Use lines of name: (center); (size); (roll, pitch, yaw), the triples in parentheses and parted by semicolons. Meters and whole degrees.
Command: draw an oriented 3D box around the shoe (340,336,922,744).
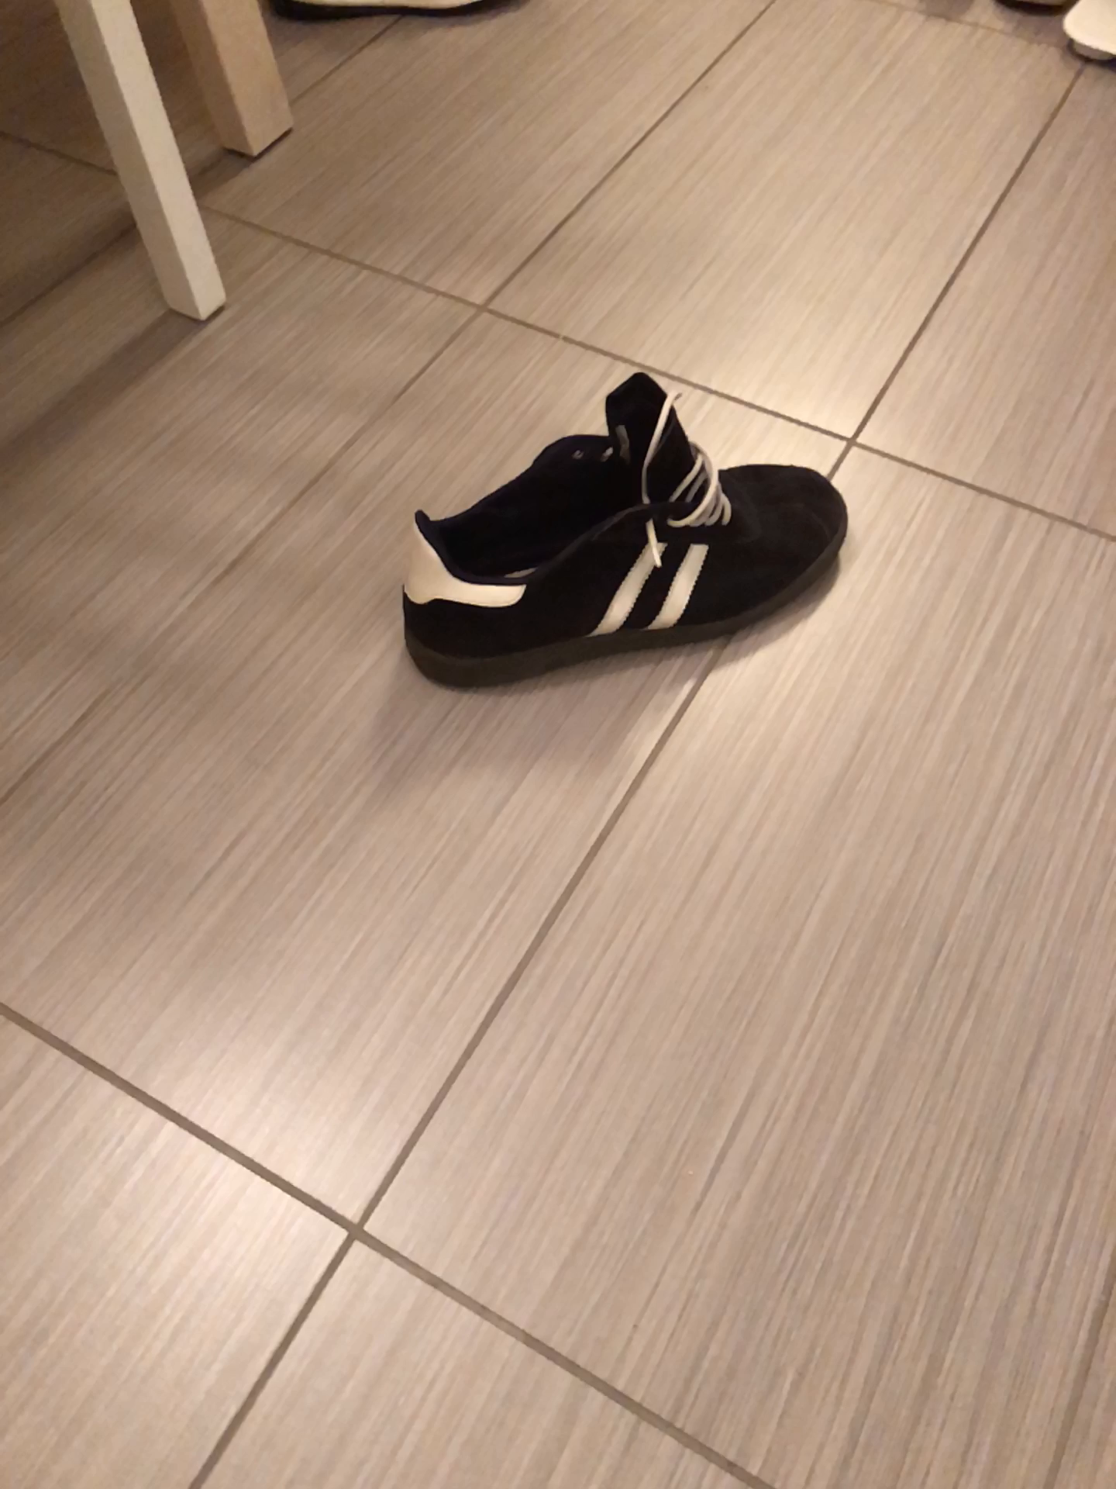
shoe: (0.042, -0.126, 0.741); (0.310, 0.119, 0.110); (-19, 57, -12)
